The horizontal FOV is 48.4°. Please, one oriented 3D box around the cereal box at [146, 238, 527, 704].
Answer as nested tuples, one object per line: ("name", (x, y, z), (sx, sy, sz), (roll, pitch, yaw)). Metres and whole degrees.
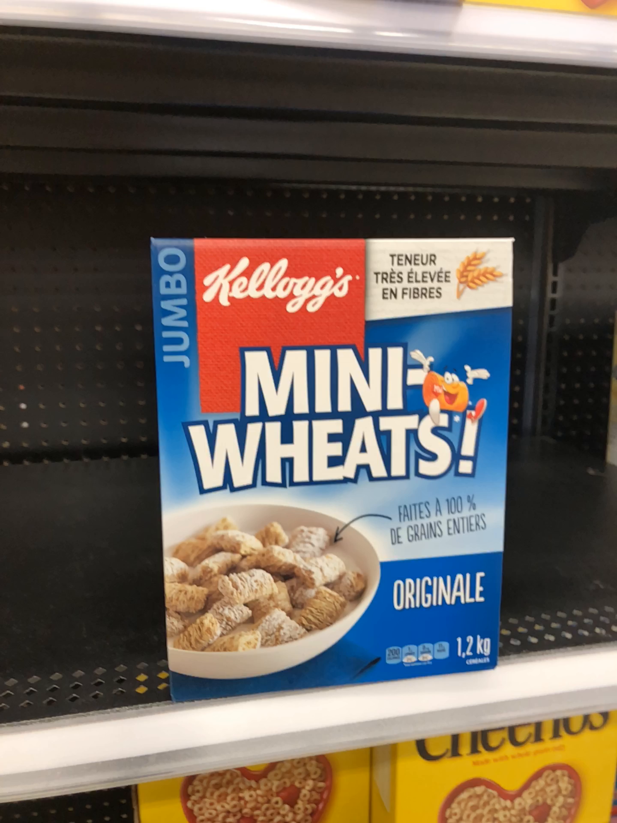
("cereal box", (0.003, 0.018, 0.455), (0.200, 0.249, 0.171), (-2, 11, -11))
